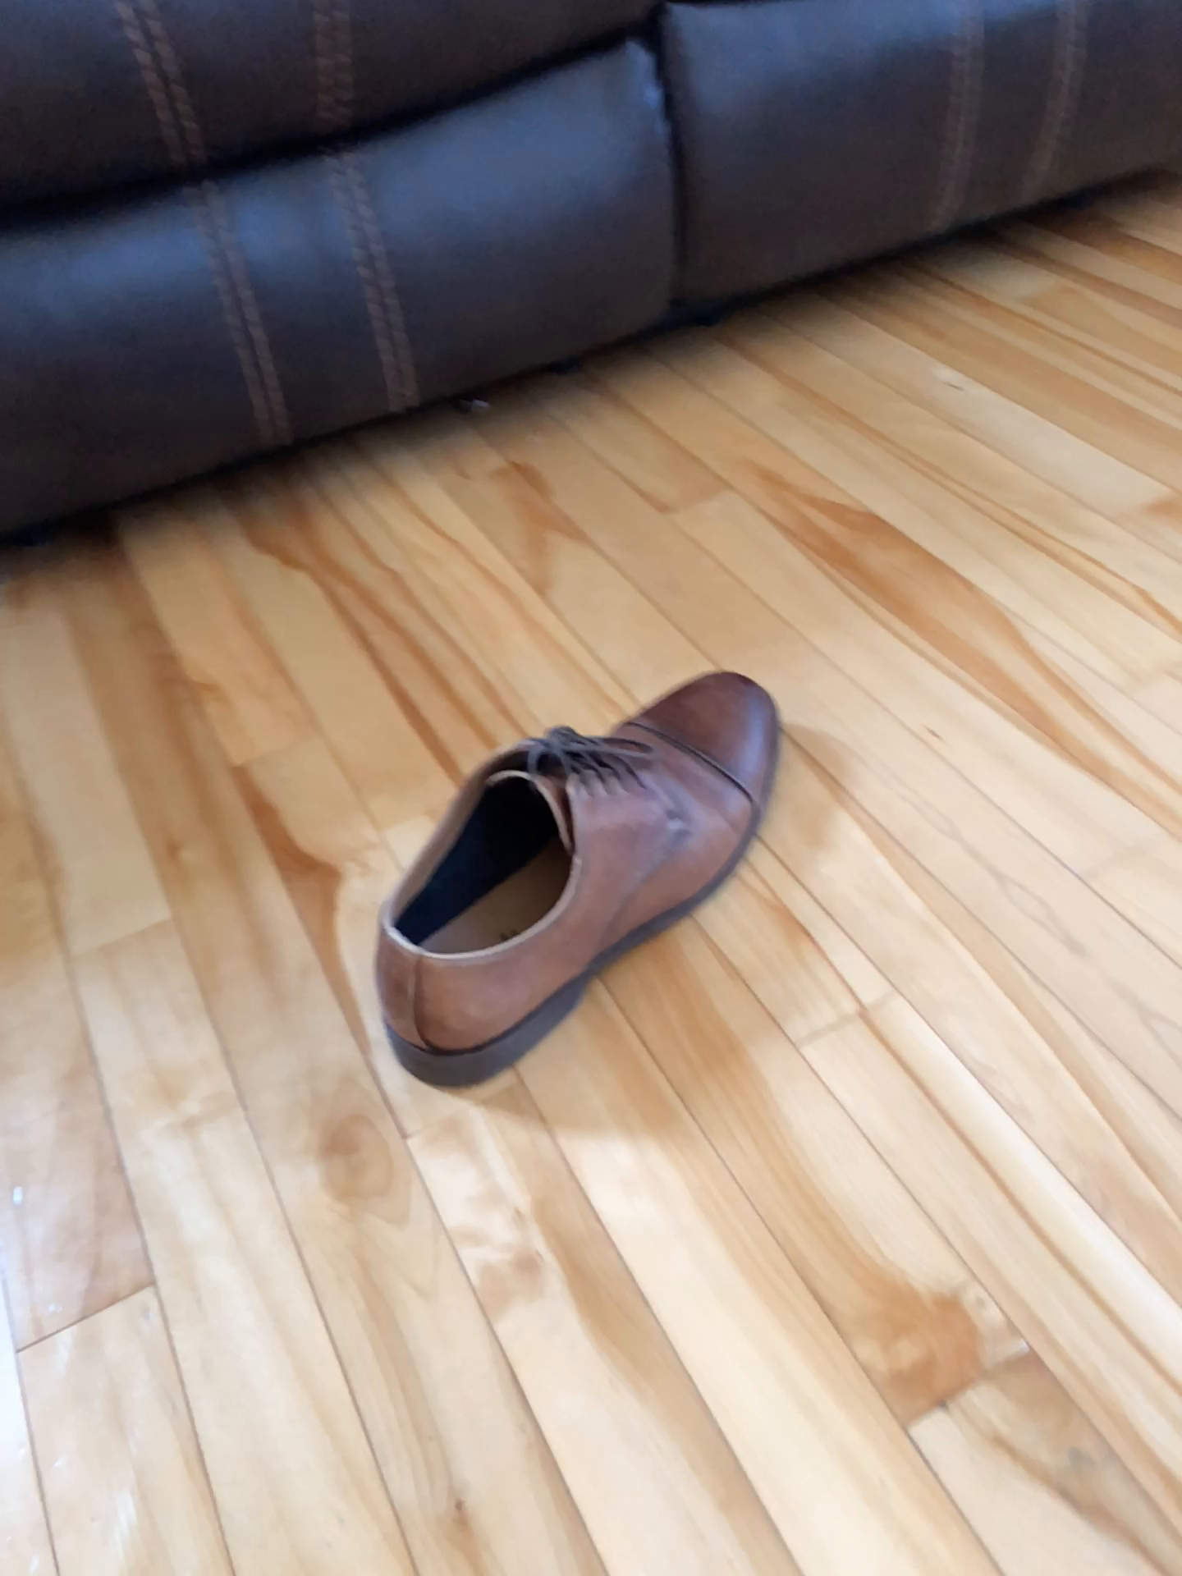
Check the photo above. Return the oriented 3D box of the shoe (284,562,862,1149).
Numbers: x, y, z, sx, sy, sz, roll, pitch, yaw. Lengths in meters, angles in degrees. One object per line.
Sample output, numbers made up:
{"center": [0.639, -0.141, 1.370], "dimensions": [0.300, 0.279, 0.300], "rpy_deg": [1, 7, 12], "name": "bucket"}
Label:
{"center": [0.009, 0.018, 0.655], "dimensions": [0.100, 0.099, 0.311], "rpy_deg": [27, 53, 32], "name": "shoe"}
